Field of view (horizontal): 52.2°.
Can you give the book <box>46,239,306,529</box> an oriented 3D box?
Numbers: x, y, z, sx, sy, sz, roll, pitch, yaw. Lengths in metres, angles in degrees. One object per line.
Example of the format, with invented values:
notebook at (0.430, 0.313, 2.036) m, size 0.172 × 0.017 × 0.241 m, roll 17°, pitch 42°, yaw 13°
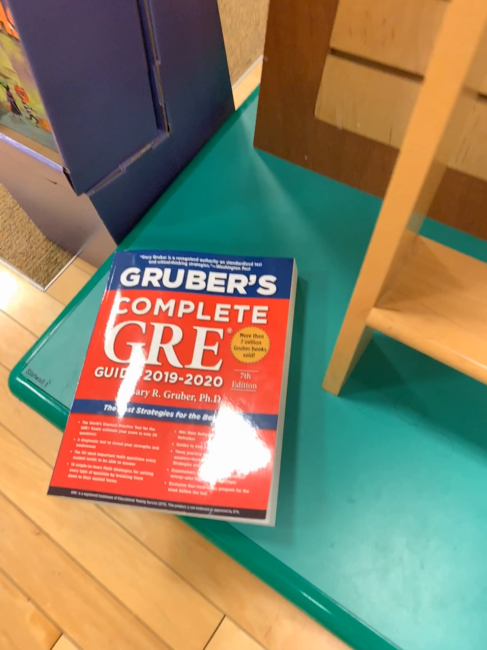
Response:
book at (-0.056, 0.045, 0.526) m, size 0.220 × 0.040 × 0.290 m, roll 4°, pitch 64°, yaw 10°
